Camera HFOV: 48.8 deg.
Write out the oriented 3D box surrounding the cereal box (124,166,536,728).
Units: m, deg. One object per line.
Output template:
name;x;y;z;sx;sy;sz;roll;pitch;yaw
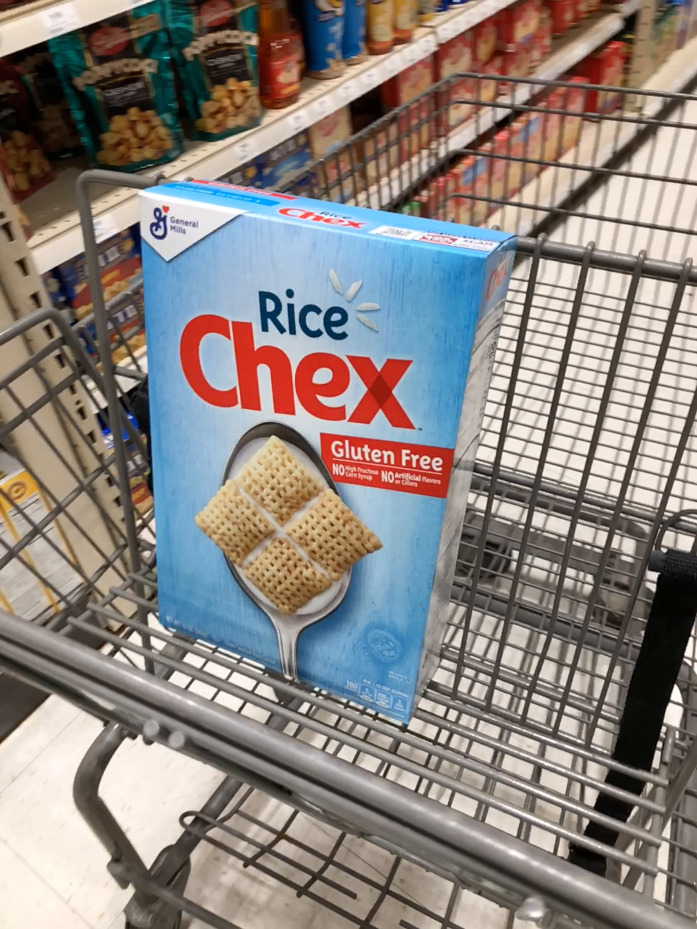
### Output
cereal box;-0.023;-0.006;0.452;0.200;0.290;0.060;16;30;19
